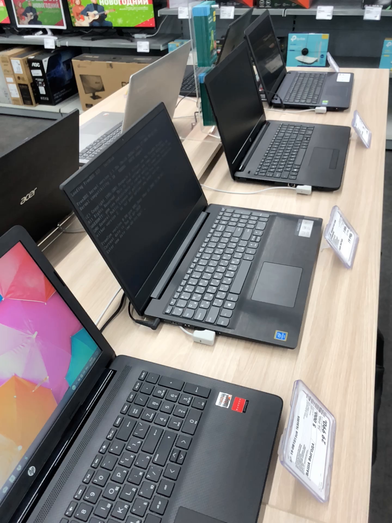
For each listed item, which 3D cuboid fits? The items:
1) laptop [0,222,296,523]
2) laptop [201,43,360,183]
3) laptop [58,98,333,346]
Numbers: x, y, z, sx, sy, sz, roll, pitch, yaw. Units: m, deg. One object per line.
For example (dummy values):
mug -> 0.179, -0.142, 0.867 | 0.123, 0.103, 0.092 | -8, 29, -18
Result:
laptop -> -0.105, 0.169, 0.382 | 0.320, 0.202, 0.353 | 10, 40, 16
laptop -> 0.215, -0.376, 1.051 | 0.297, 0.208, 0.339 | 10, 39, 15
laptop -> 0.031, -0.095, 0.712 | 0.321, 0.210, 0.342 | 10, 40, 16
